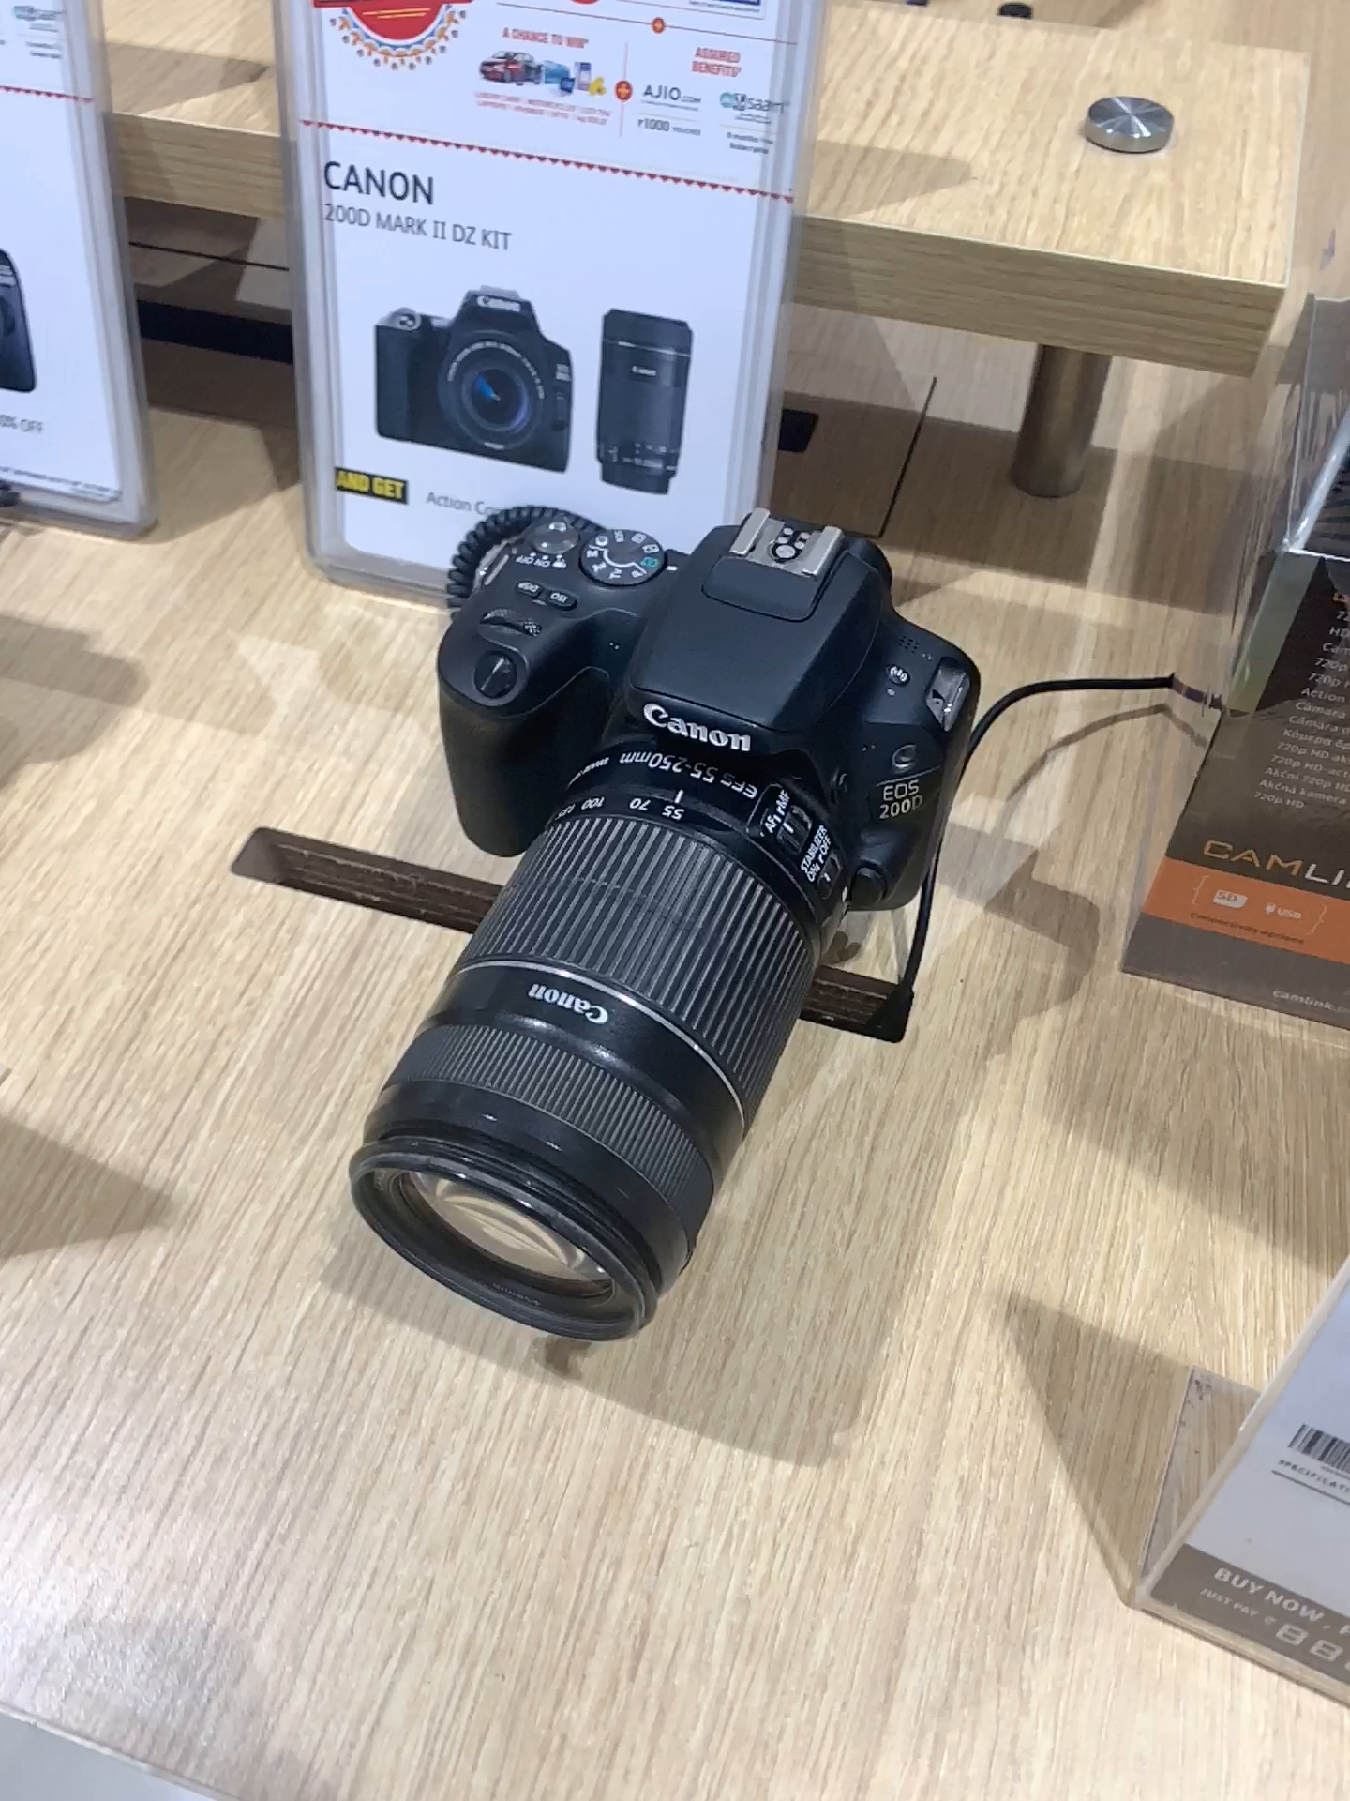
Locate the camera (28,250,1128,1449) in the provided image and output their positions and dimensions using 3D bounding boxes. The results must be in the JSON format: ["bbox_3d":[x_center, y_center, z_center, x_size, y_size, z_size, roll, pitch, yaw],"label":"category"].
[{"bbox_3d":[0.000,-0.023,0.281,0.120,0.100,0.200,17,56,13],"label":"camera"}]
